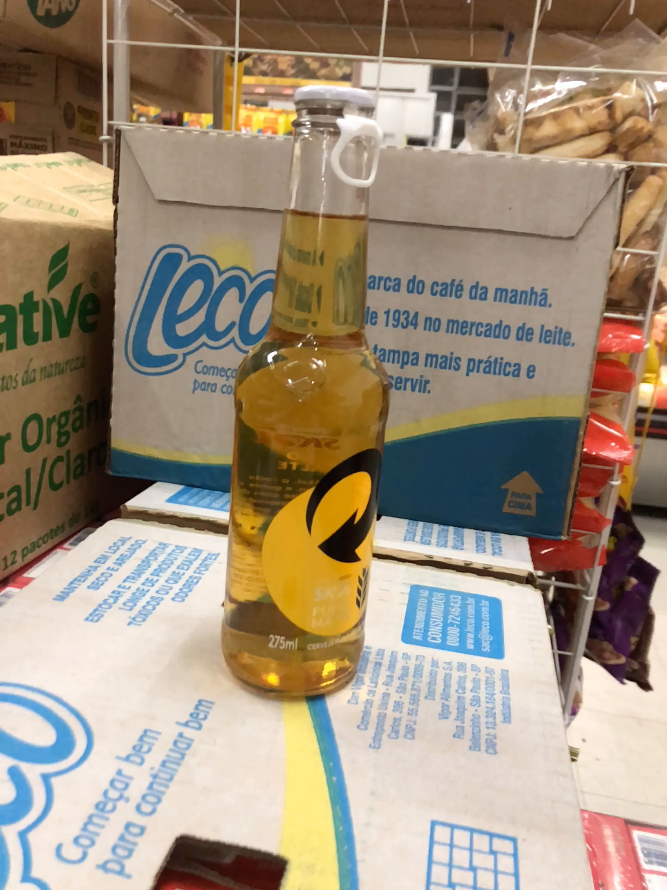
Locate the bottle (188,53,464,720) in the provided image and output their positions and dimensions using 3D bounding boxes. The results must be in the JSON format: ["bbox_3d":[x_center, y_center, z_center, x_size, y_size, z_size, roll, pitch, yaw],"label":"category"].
[{"bbox_3d":[-0.007,-0.018,0.268,0.060,0.209,0.060,4,16,-1],"label":"bottle"}]
